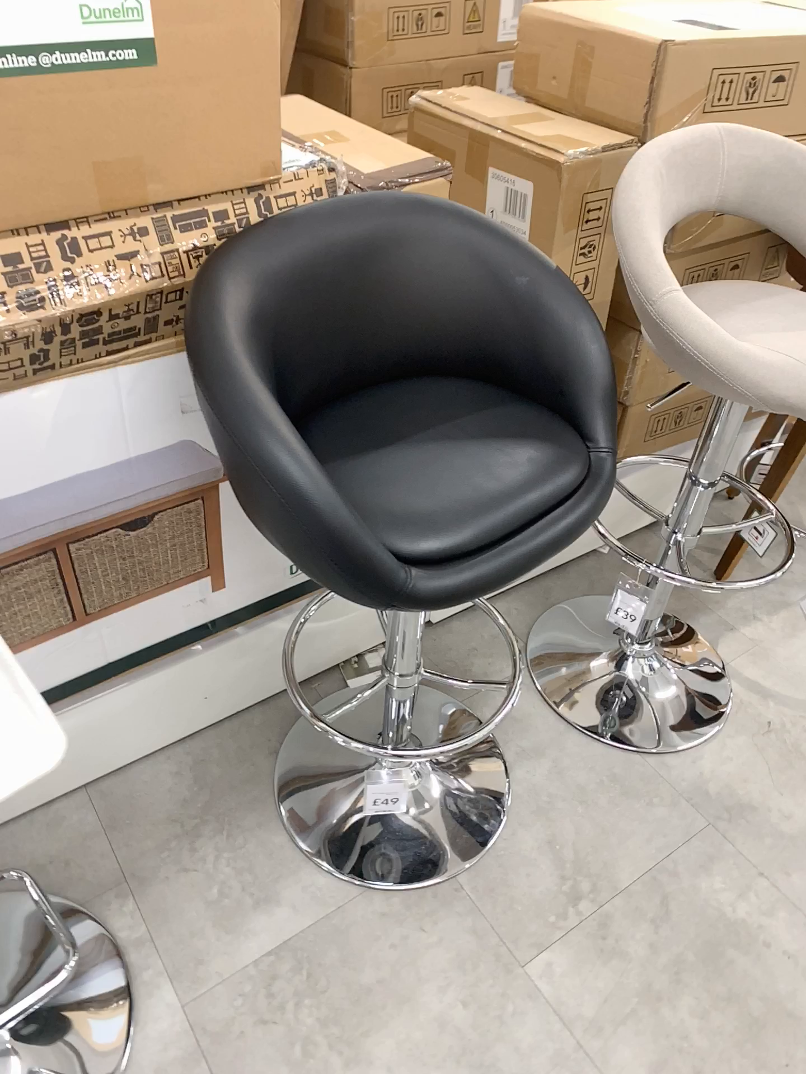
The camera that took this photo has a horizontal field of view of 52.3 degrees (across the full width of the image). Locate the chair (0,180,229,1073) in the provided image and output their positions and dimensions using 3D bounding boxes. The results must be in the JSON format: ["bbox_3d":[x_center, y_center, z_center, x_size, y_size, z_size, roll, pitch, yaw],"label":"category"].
[{"bbox_3d":[-0.502,0.264,0.749,0.446,0.947,0.442,-28,50,-34],"label":"chair"}]

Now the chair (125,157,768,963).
[{"bbox_3d":[0.014,0.042,1.097,0.476,0.868,0.442,-26,48,-32],"label":"chair"}]

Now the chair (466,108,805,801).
[{"bbox_3d":[0.464,-0.111,1.319,0.446,0.918,0.432,-28,50,-34],"label":"chair"}]
